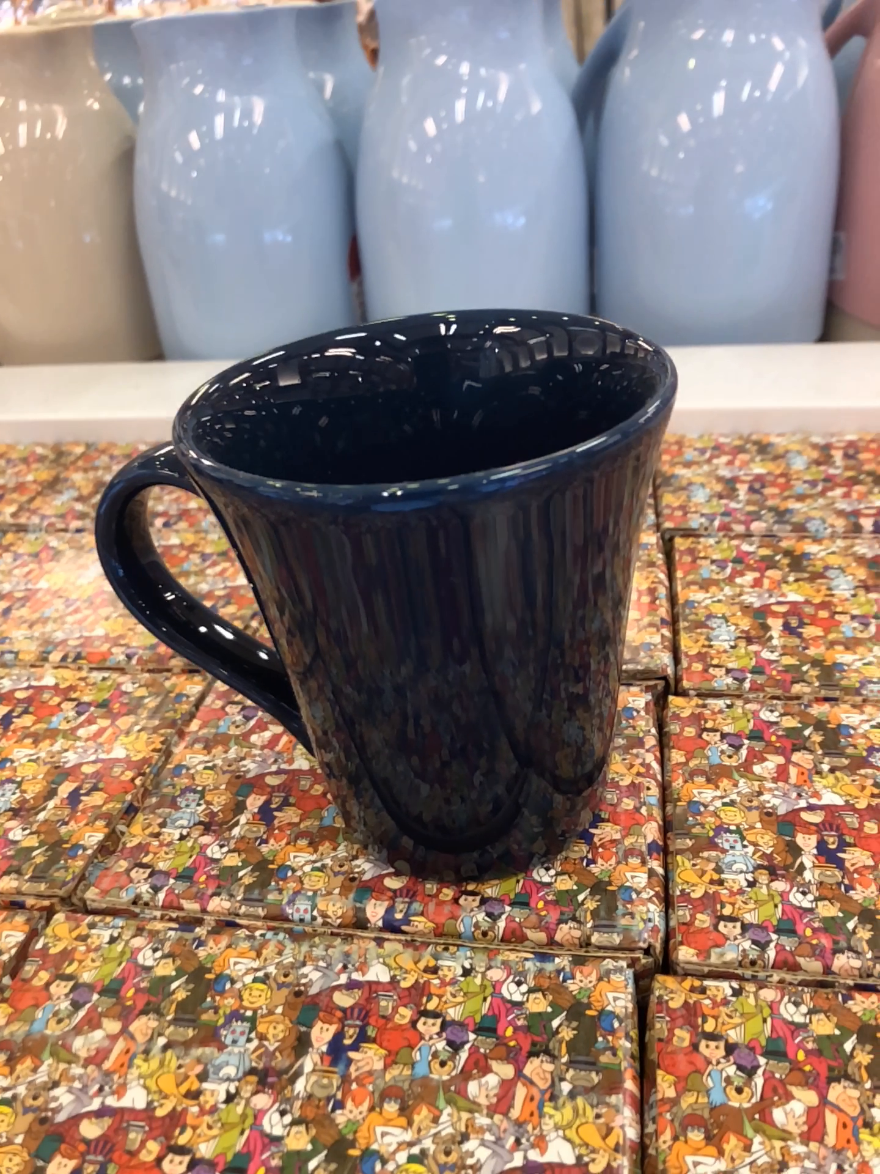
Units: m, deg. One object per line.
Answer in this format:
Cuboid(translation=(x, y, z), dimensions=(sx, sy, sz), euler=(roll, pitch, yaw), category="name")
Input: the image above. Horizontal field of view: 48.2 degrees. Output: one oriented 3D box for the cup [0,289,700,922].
Cuboid(translation=(-0.012, -0.003, 0.211), dimensions=(0.120, 0.089, 0.101), euler=(0, 30, 9), category="cup")
